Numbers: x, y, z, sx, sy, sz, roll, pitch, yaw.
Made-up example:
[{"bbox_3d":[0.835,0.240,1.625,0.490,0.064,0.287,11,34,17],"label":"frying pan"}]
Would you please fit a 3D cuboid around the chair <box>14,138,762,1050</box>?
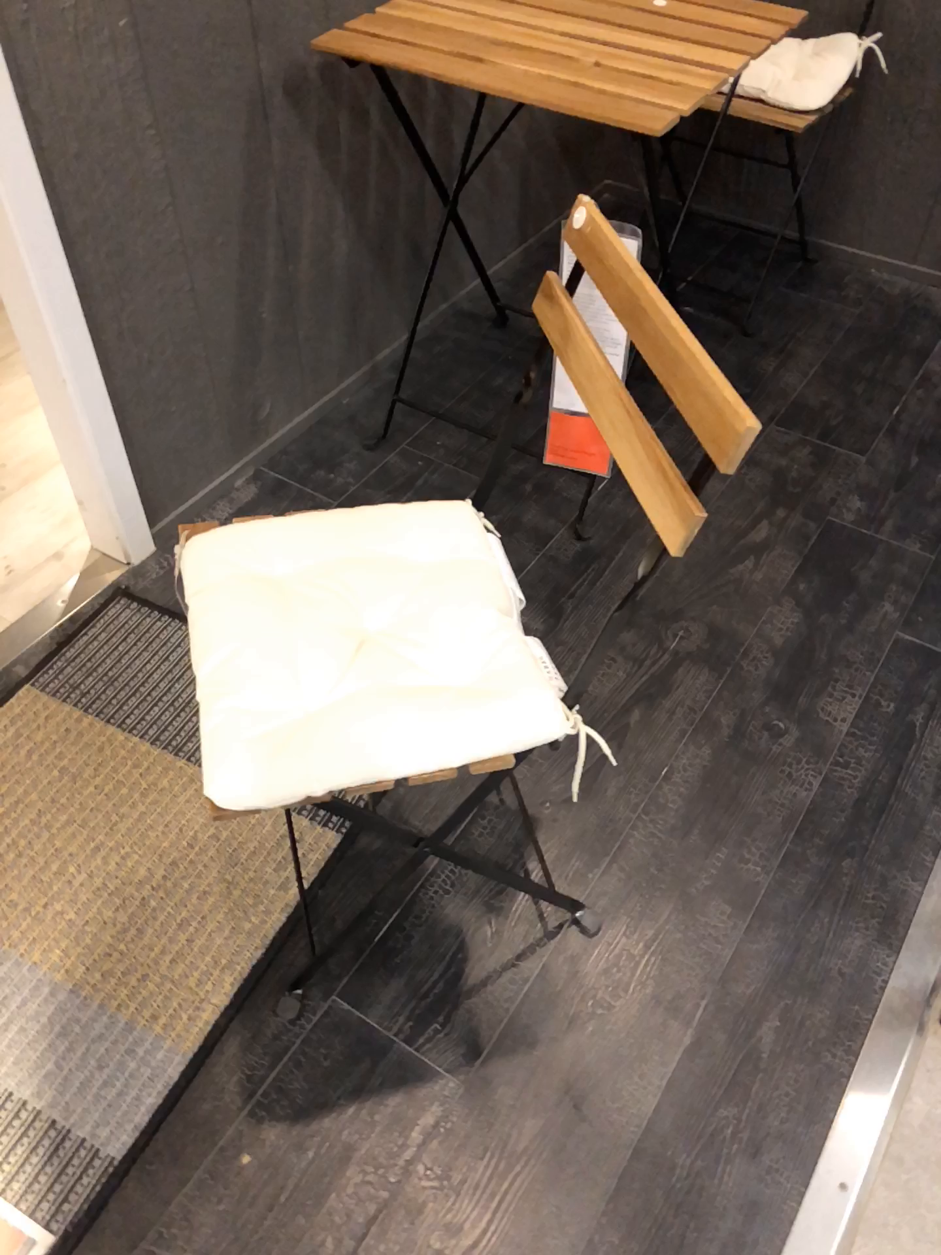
[{"bbox_3d":[-0.092,0.004,1.050,0.460,0.757,0.452,-11,48,-10],"label":"chair"}]
